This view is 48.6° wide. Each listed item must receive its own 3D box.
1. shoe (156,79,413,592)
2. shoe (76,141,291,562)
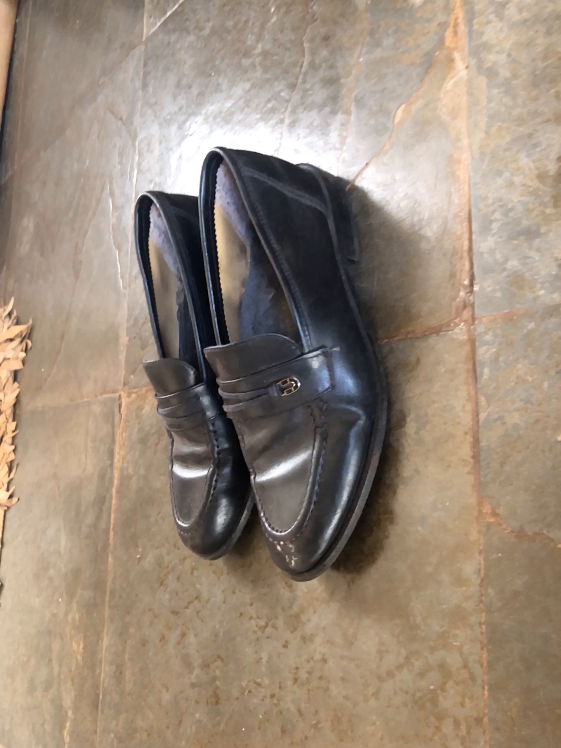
[{"bbox_3d":[-0.001,-0.015,0.371,0.100,0.100,0.260,-15,71,47],"label":"shoe"},{"bbox_3d":[-0.067,-0.009,0.445,0.100,0.100,0.260,-9,75,48],"label":"shoe"}]
